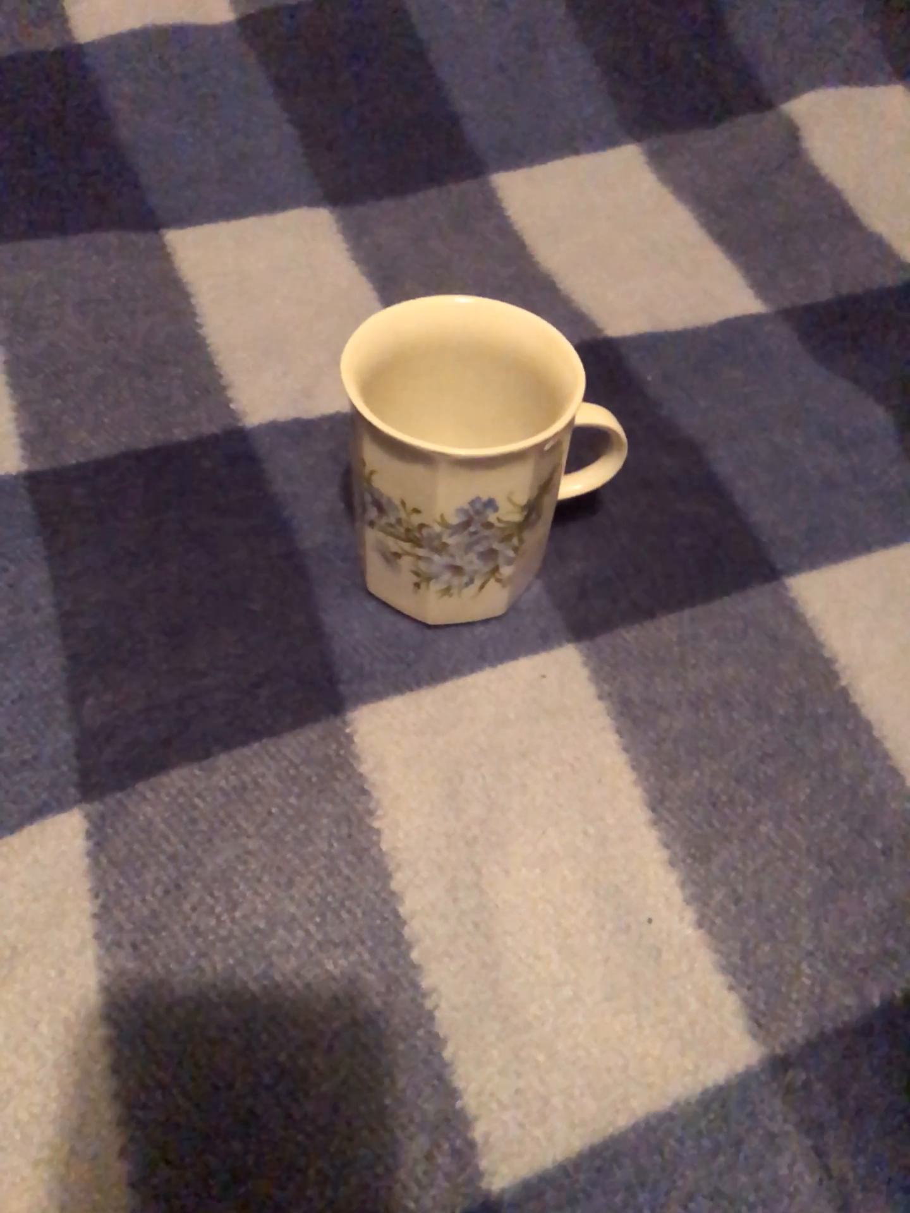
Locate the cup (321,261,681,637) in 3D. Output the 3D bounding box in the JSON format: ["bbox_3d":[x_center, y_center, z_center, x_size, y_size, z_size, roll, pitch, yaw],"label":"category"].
[{"bbox_3d":[0.009,-0.052,0.345,0.098,0.094,0.077,-5,55,-7],"label":"cup"}]
